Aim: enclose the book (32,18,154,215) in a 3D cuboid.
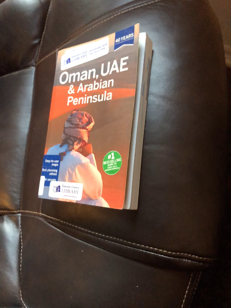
[{"bbox_3d":[-0.030,-0.040,0.309,0.138,0.030,0.203,0,81,33],"label":"book"}]
